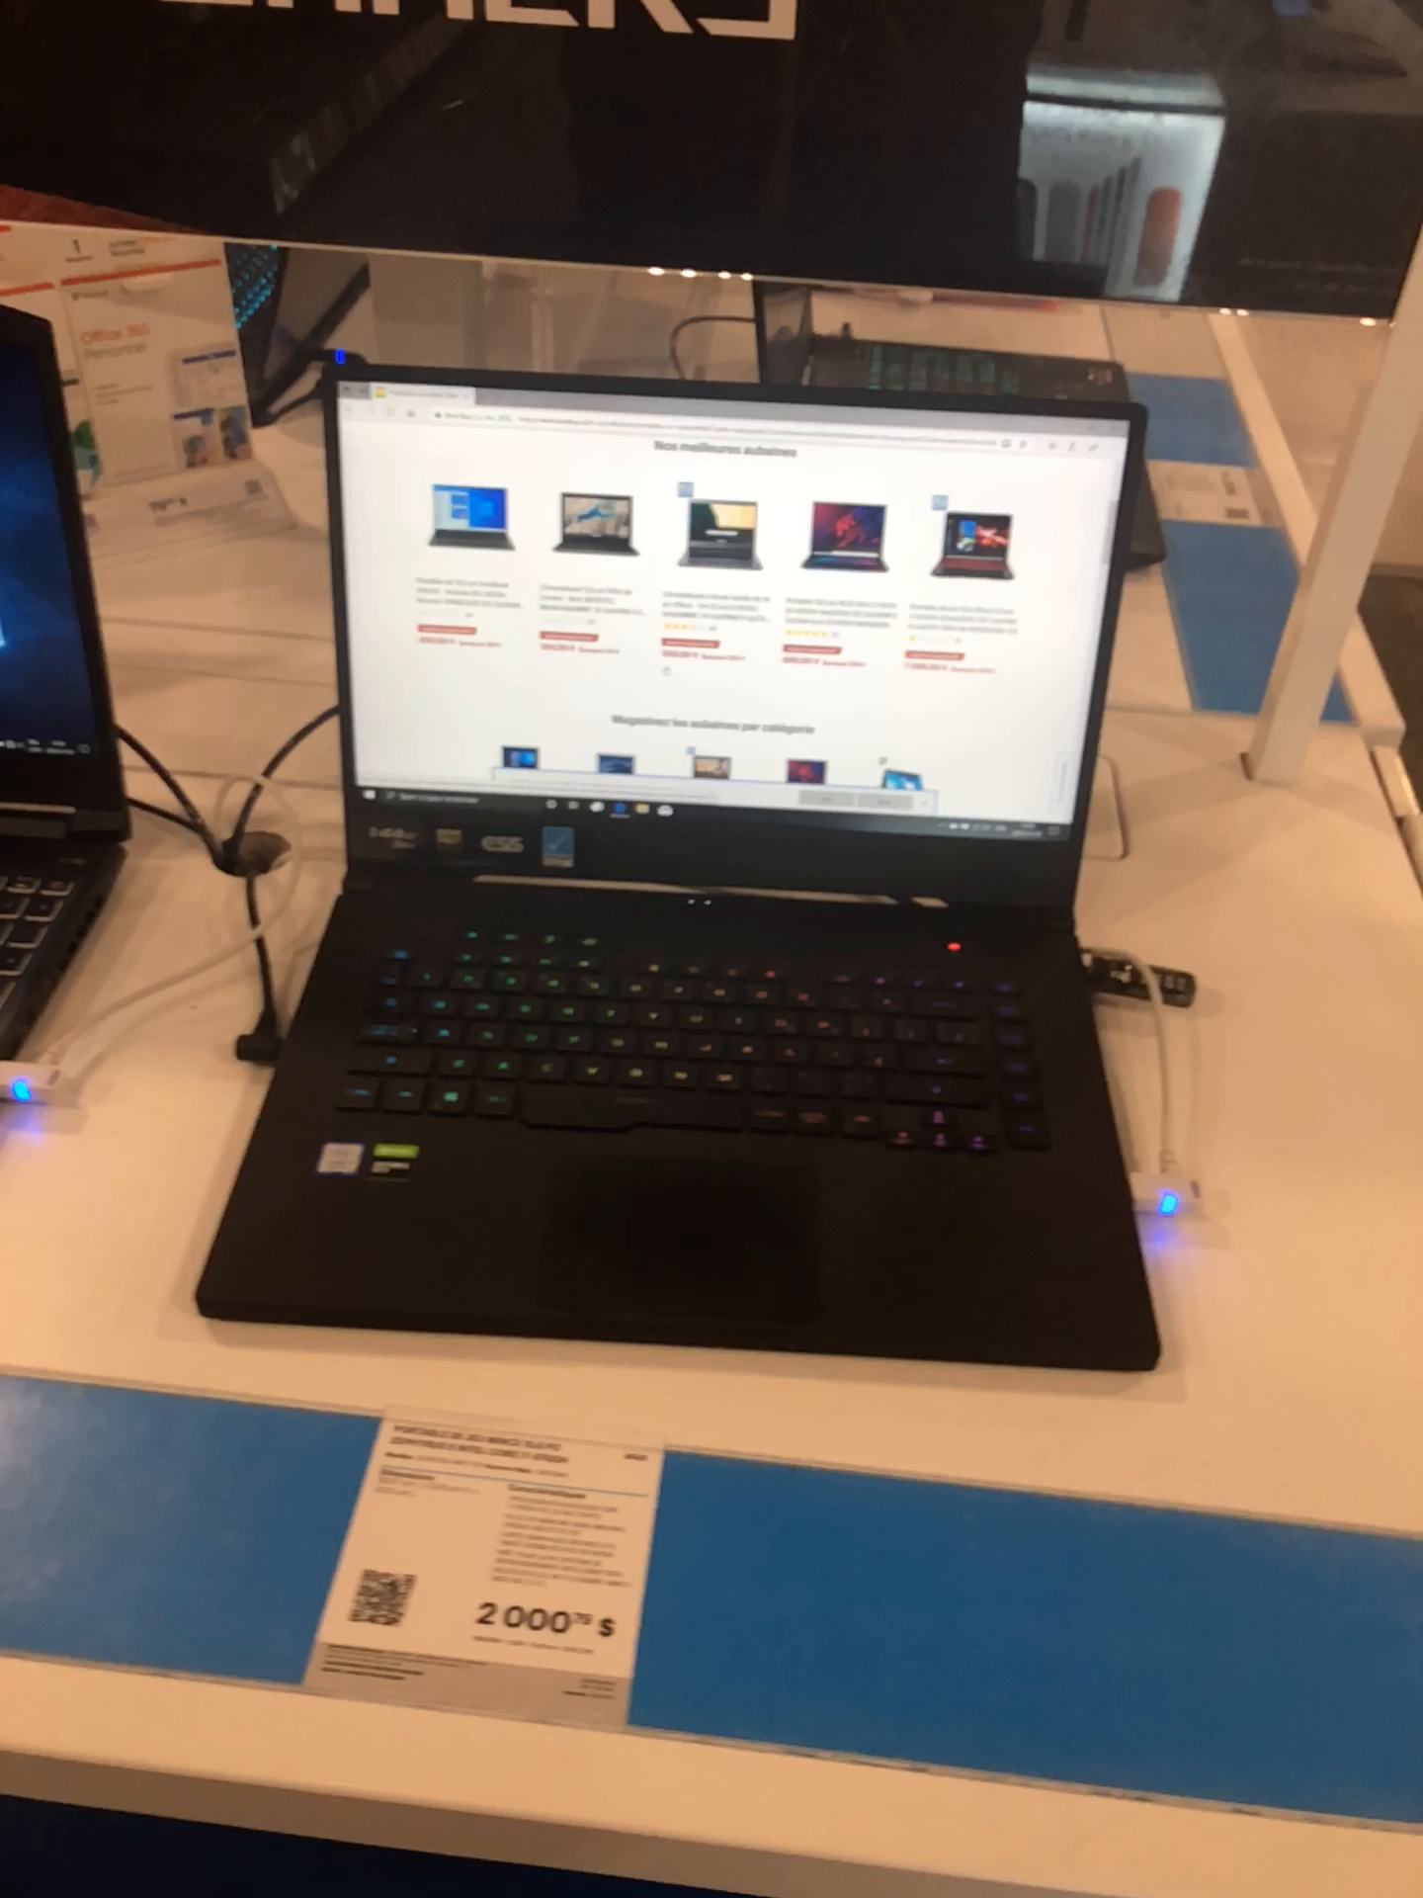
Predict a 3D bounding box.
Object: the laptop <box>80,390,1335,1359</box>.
[{"bbox_3d":[0.003,-0.048,0.612,0.340,0.207,0.316,3,40,2],"label":"laptop"}]
